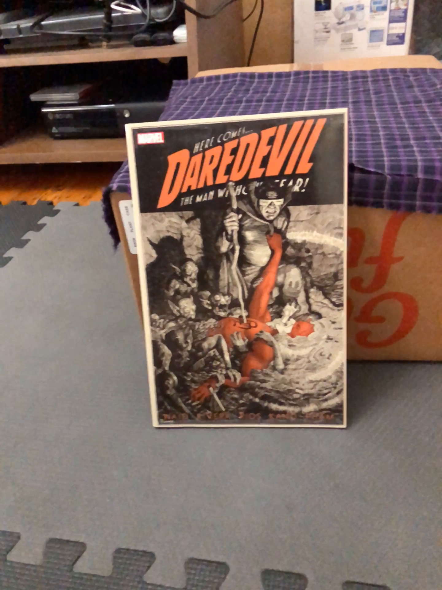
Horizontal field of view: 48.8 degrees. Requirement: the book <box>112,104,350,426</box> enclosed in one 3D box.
[{"bbox_3d":[0.011,-0.013,0.362,0.160,0.229,0.020,-2,13,6],"label":"book"}]
